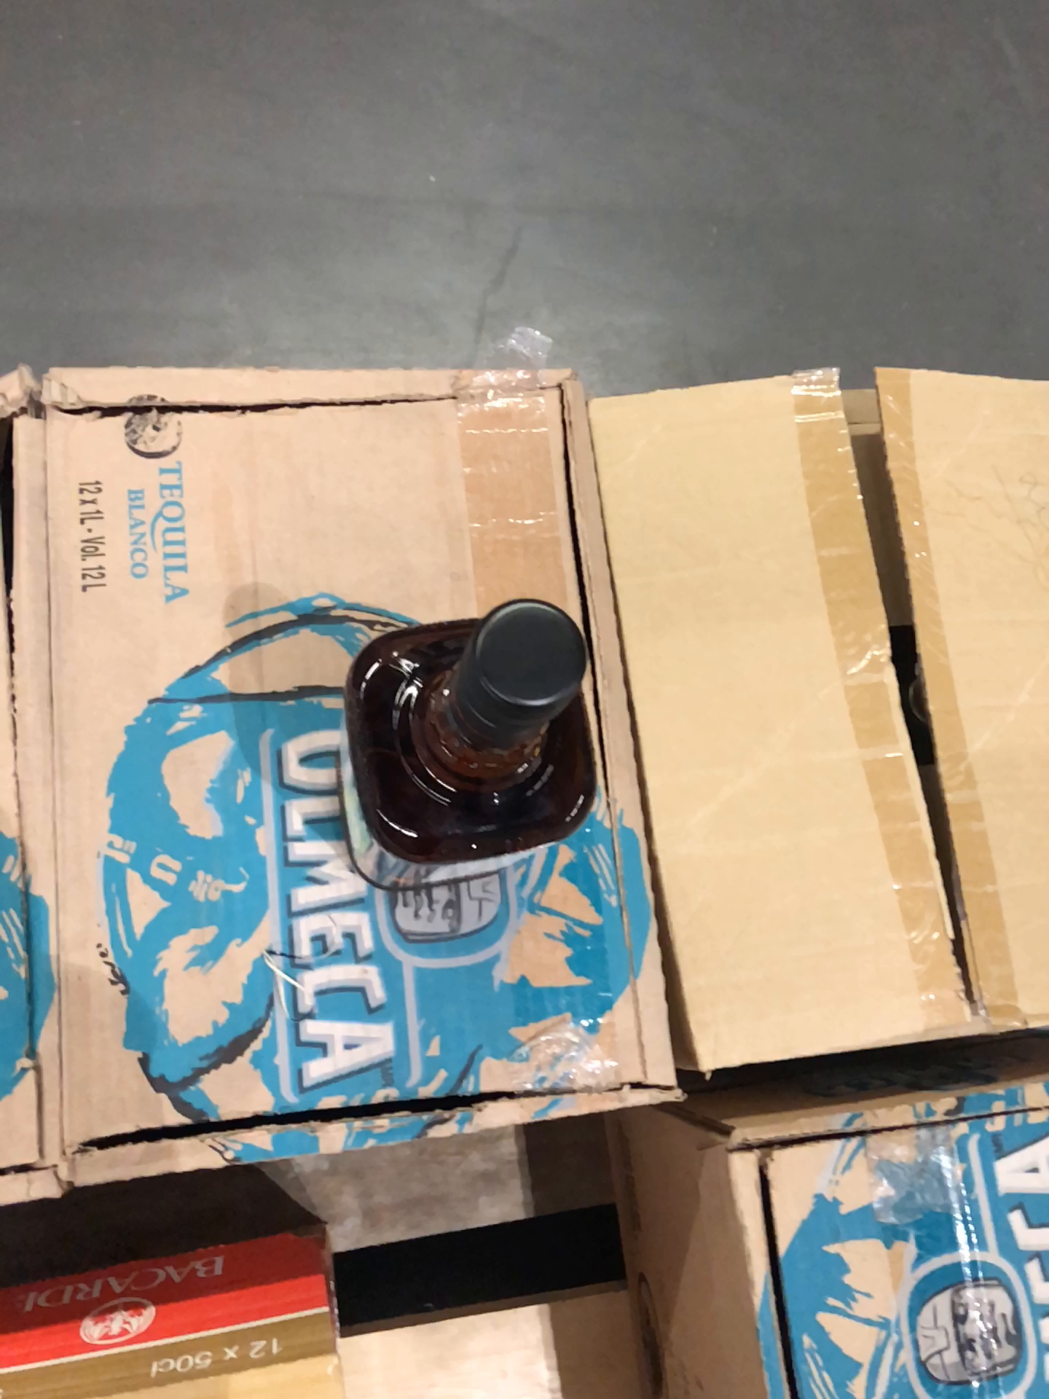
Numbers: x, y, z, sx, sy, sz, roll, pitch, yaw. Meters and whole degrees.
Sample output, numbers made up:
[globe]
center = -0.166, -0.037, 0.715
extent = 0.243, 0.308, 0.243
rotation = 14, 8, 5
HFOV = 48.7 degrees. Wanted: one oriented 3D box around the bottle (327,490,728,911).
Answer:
[bottle]
center = -0.021, 0.020, 0.416
extent = 0.086, 0.260, 0.090
rotation = 2, 78, -10
